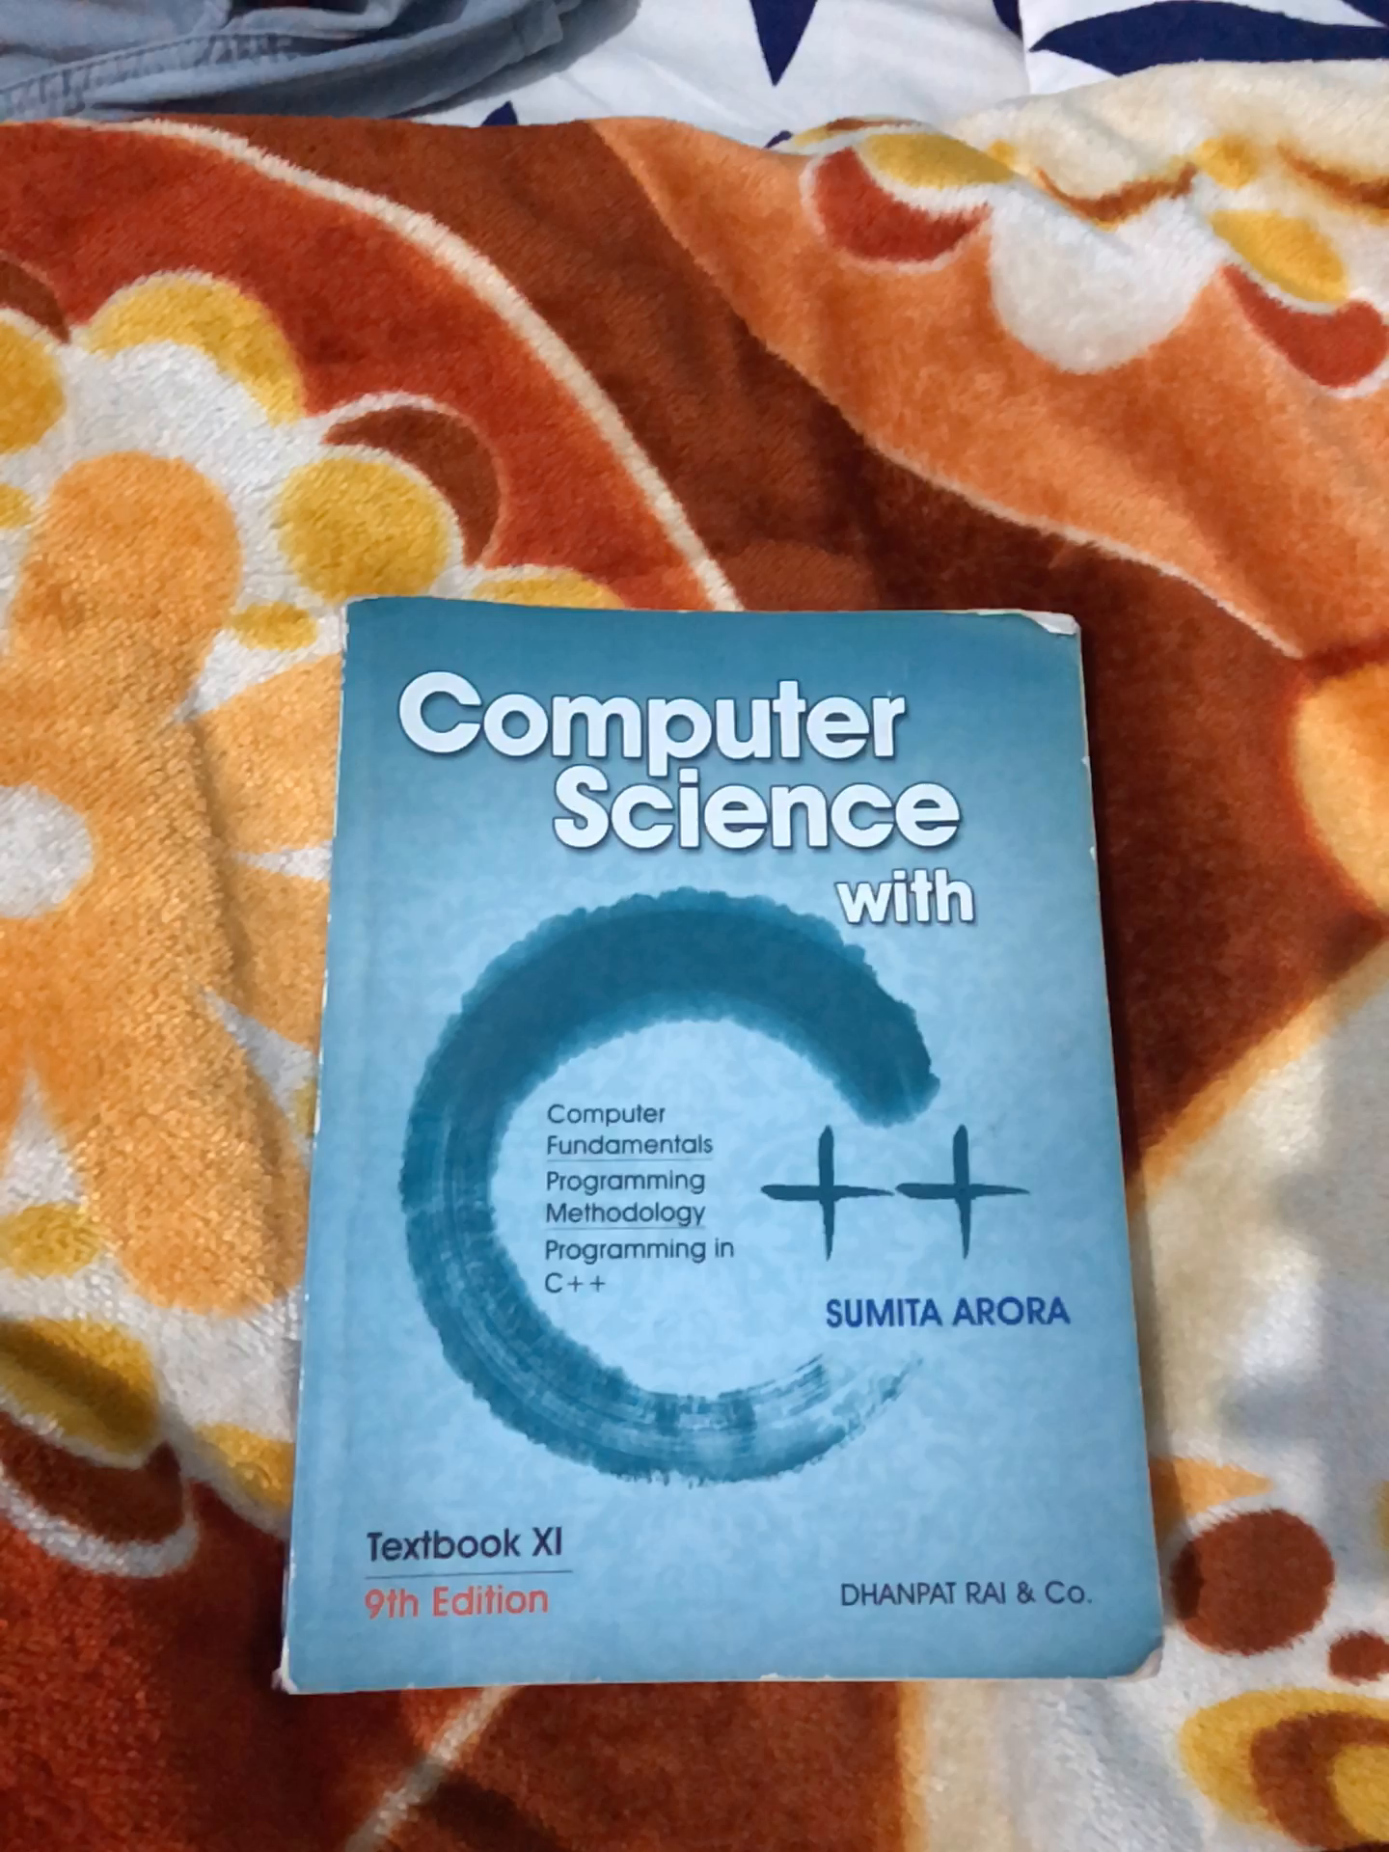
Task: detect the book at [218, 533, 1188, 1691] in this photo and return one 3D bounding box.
[{"bbox_3d":[0.003,0.038,0.388,0.210,0.040,0.270,1,75,-5],"label":"book"}]
